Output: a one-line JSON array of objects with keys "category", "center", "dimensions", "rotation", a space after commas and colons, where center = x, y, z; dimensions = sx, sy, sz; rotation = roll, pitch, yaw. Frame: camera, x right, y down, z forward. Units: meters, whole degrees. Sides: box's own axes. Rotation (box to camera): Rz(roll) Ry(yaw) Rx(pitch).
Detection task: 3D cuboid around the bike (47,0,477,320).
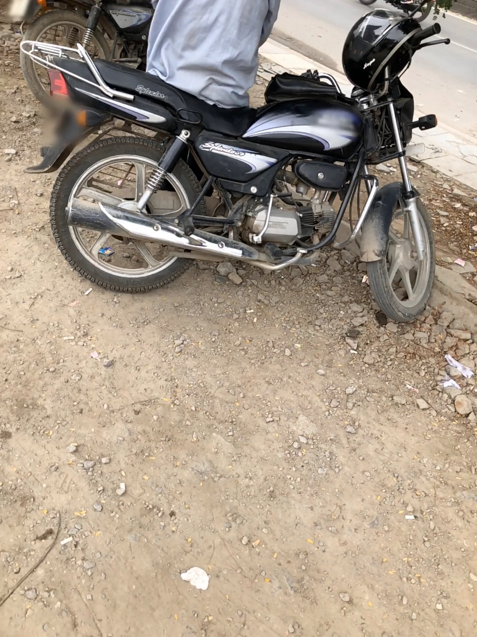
[{"category": "bike", "center": [0.111, -0.687, 2.112], "dimensions": [1.596, 1.170, 0.743], "rotation": [1, 40, -17]}]
